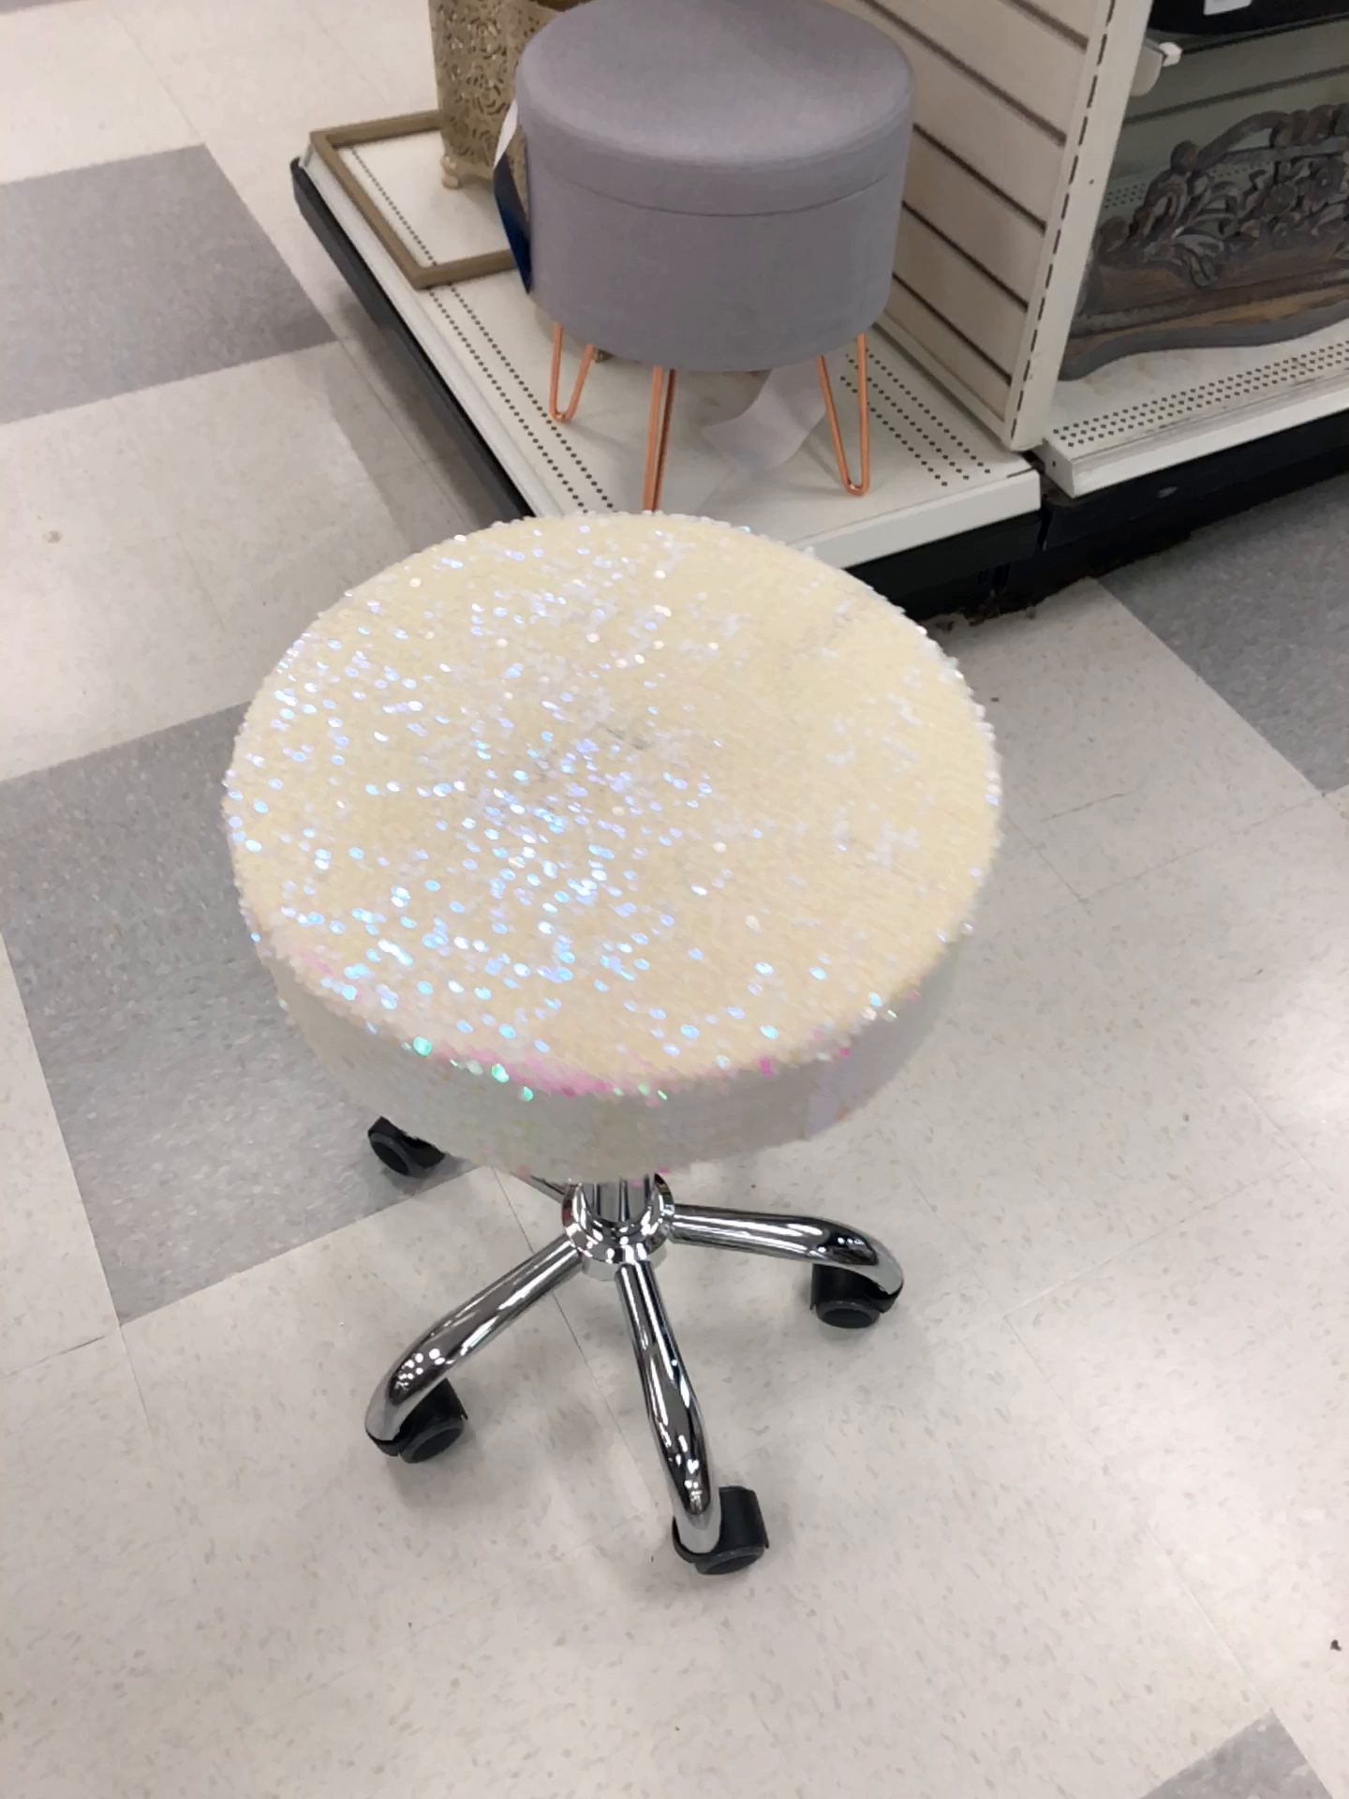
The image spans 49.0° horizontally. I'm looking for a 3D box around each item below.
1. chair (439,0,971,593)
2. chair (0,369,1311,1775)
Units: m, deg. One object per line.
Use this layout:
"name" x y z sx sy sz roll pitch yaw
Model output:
"chair" 0.013 -0.551 1.296 0.307 0.383 0.306 -21 55 -17
"chair" -0.052 0.121 0.882 0.437 0.592 0.467 -21 55 -17
